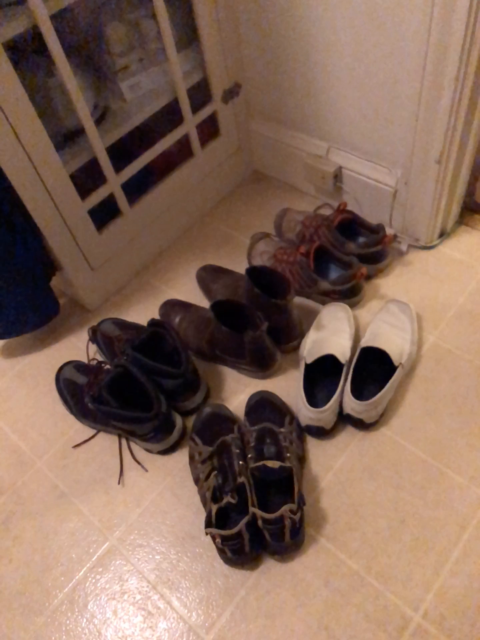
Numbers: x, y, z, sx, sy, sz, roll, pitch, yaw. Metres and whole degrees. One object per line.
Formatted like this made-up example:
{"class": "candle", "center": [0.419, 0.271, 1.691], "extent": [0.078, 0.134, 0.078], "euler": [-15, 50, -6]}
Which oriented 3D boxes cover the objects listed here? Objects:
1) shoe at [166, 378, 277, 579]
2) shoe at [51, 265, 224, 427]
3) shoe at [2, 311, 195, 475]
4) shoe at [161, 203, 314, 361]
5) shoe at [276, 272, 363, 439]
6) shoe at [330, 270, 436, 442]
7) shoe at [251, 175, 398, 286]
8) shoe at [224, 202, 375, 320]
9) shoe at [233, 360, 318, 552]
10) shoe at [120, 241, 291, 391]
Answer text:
{"class": "shoe", "center": [-0.037, 0.269, 0.926], "extent": [0.110, 0.123, 0.294], "euler": [-17, 53, -2]}
{"class": "shoe", "center": [-0.207, 0.050, 1.082], "extent": [0.324, 0.192, 0.110], "euler": [30, 64, 28]}
{"class": "shoe", "center": [-0.267, 0.138, 1.018], "extent": [0.324, 0.192, 0.110], "euler": [24, 61, 25]}
{"class": "shoe", "center": [-0.004, -0.086, 1.147], "extent": [0.324, 0.192, 0.110], "euler": [36, 67, 30]}
{"class": "shoe", "center": [0.165, 0.062, 1.049], "extent": [0.110, 0.113, 0.304], "euler": [8, 56, 16]}
{"class": "shoe", "center": [0.280, 0.062, 1.030], "extent": [0.110, 0.113, 0.304], "euler": [16, 58, 21]}
{"class": "shoe", "center": [0.191, -0.213, 1.229], "extent": [0.314, 0.113, 0.110], "euler": [28, 63, 27]}
{"class": "shoe", "center": [0.129, -0.138, 1.178], "extent": [0.314, 0.113, 0.110], "euler": [28, 63, 27]}
{"class": "shoe", "center": [0.060, 0.235, 0.938], "extent": [0.110, 0.123, 0.294], "euler": [-8, 53, 5]}
{"class": "shoe", "center": [-0.068, -0.011, 1.105], "extent": [0.324, 0.192, 0.110], "euler": [25, 62, 26]}
